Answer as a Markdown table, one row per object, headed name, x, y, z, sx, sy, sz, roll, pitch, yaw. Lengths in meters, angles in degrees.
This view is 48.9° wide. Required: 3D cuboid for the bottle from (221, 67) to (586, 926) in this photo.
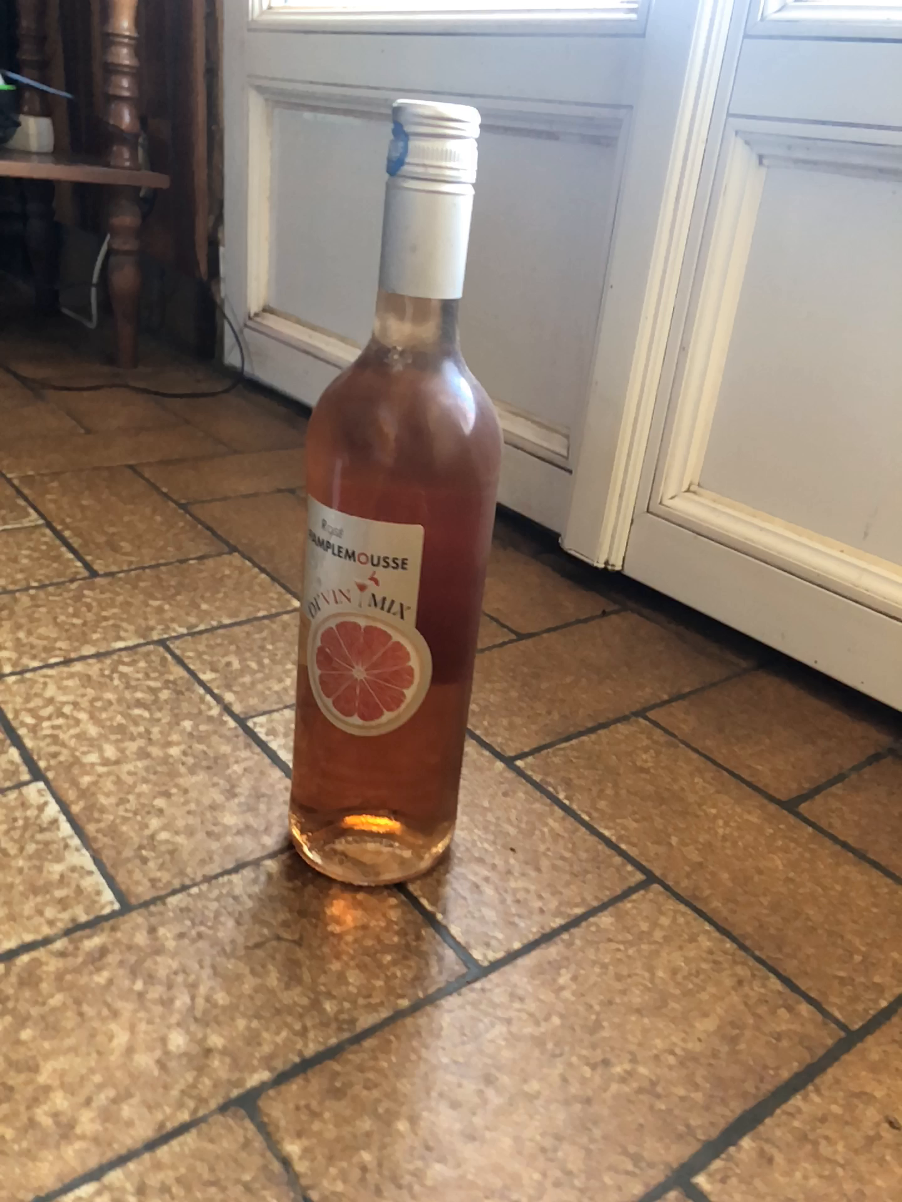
| name | x | y | z | sx | sy | sz | roll | pitch | yaw |
| --- | --- | --- | --- | --- | --- | --- | --- | --- | --- |
| bottle | -0.027 | -0.030 | 0.372 | 0.080 | 0.288 | 0.080 | 5 | 25 | -3 |
